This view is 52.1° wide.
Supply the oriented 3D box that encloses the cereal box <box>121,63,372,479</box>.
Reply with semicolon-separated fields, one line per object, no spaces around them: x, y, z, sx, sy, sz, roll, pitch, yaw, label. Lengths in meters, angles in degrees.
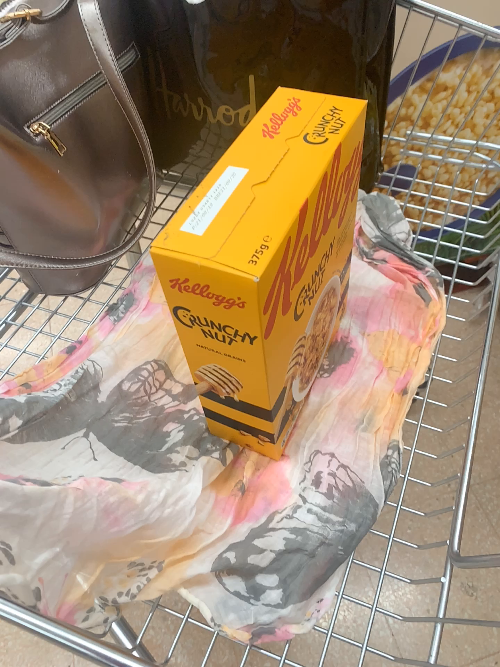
0.017;-0.039;0.424;0.080;0.258;0.211;17;55;17;cereal box
